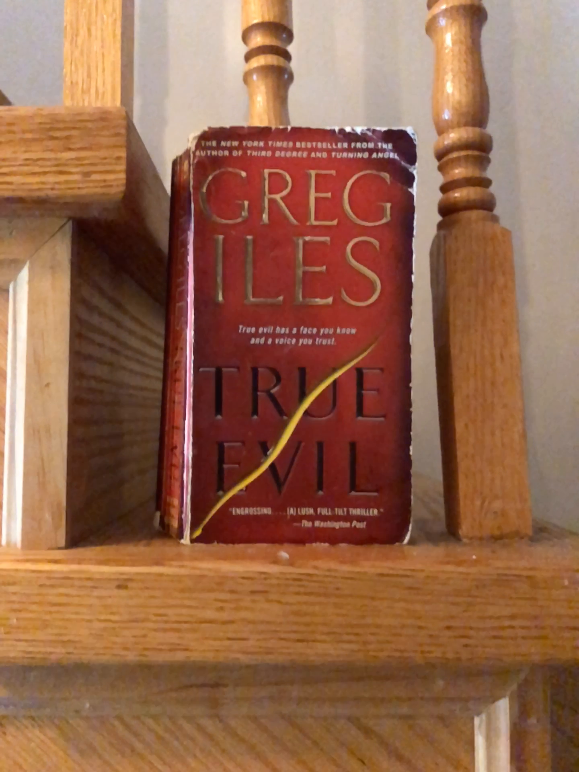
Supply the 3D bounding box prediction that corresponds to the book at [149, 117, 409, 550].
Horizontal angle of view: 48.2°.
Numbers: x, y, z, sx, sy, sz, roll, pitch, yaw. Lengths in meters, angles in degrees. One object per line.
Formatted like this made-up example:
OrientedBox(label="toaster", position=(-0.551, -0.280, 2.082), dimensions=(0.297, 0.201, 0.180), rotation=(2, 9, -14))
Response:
OrientedBox(label="book", position=(-0.007, -0.026, 0.341), dimensions=(0.120, 0.205, 0.068), rotation=(-1, -4, -1))
